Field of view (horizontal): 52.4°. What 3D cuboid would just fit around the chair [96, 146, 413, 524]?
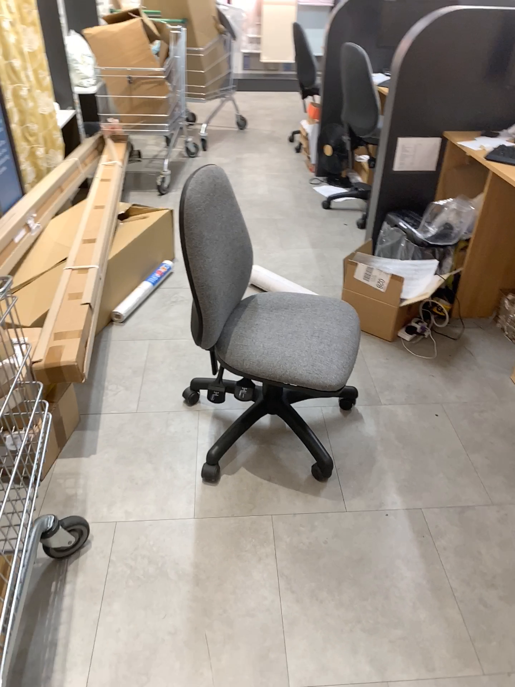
[{"bbox_3d":[0.042,-0.060,1.476,0.624,0.750,0.632,10,36,12],"label":"chair"}]
